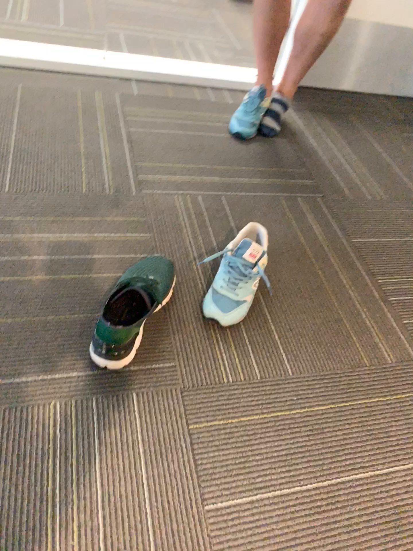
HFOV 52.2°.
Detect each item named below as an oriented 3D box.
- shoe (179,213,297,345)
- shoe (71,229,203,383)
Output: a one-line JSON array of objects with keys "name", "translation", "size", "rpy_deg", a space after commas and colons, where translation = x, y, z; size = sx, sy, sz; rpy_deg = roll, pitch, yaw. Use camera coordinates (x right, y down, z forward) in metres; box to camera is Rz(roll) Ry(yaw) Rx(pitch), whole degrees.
[{"name": "shoe", "translation": [0.080, -0.004, 0.978], "size": [0.170, 0.090, 0.281], "rpy_deg": [25, 47, 9]}, {"name": "shoe", "translation": [-0.137, 0.050, 0.911], "size": [0.140, 0.090, 0.322], "rpy_deg": [23, 46, 6]}]
